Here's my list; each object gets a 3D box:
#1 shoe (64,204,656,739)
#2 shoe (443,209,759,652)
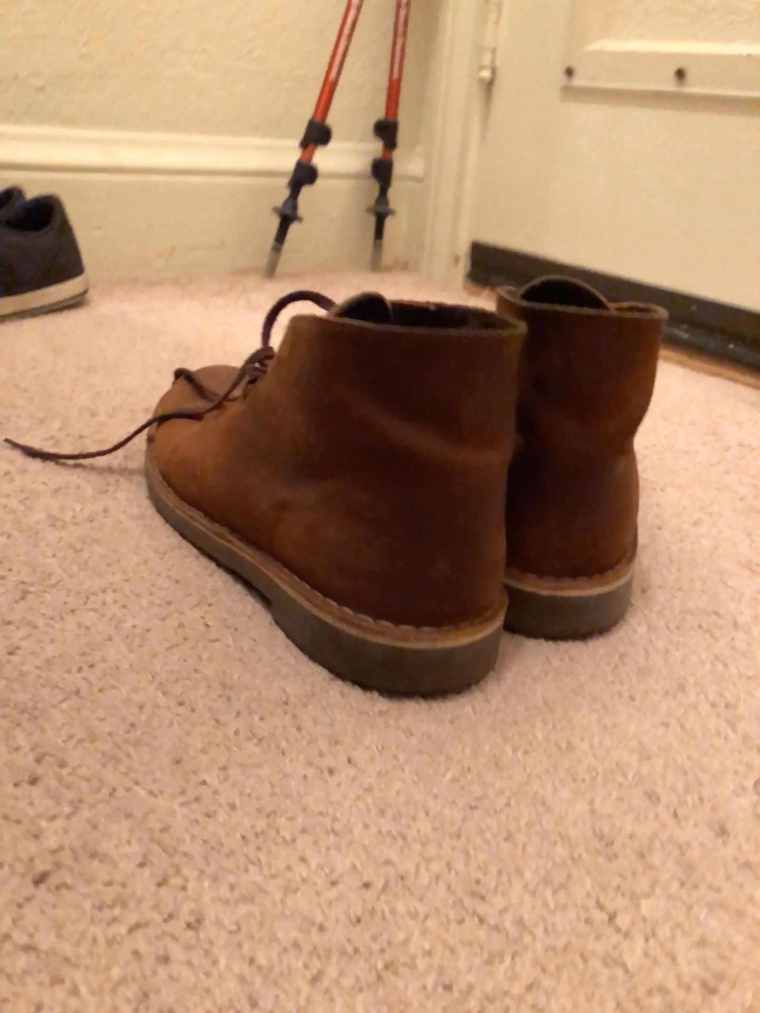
[{"bbox_3d":[-0.041,-0.051,0.408,0.110,0.138,0.304,-14,32,-35],"label":"shoe"},{"bbox_3d":[0.098,-0.071,0.473,0.110,0.138,0.305,6,26,1],"label":"shoe"}]
